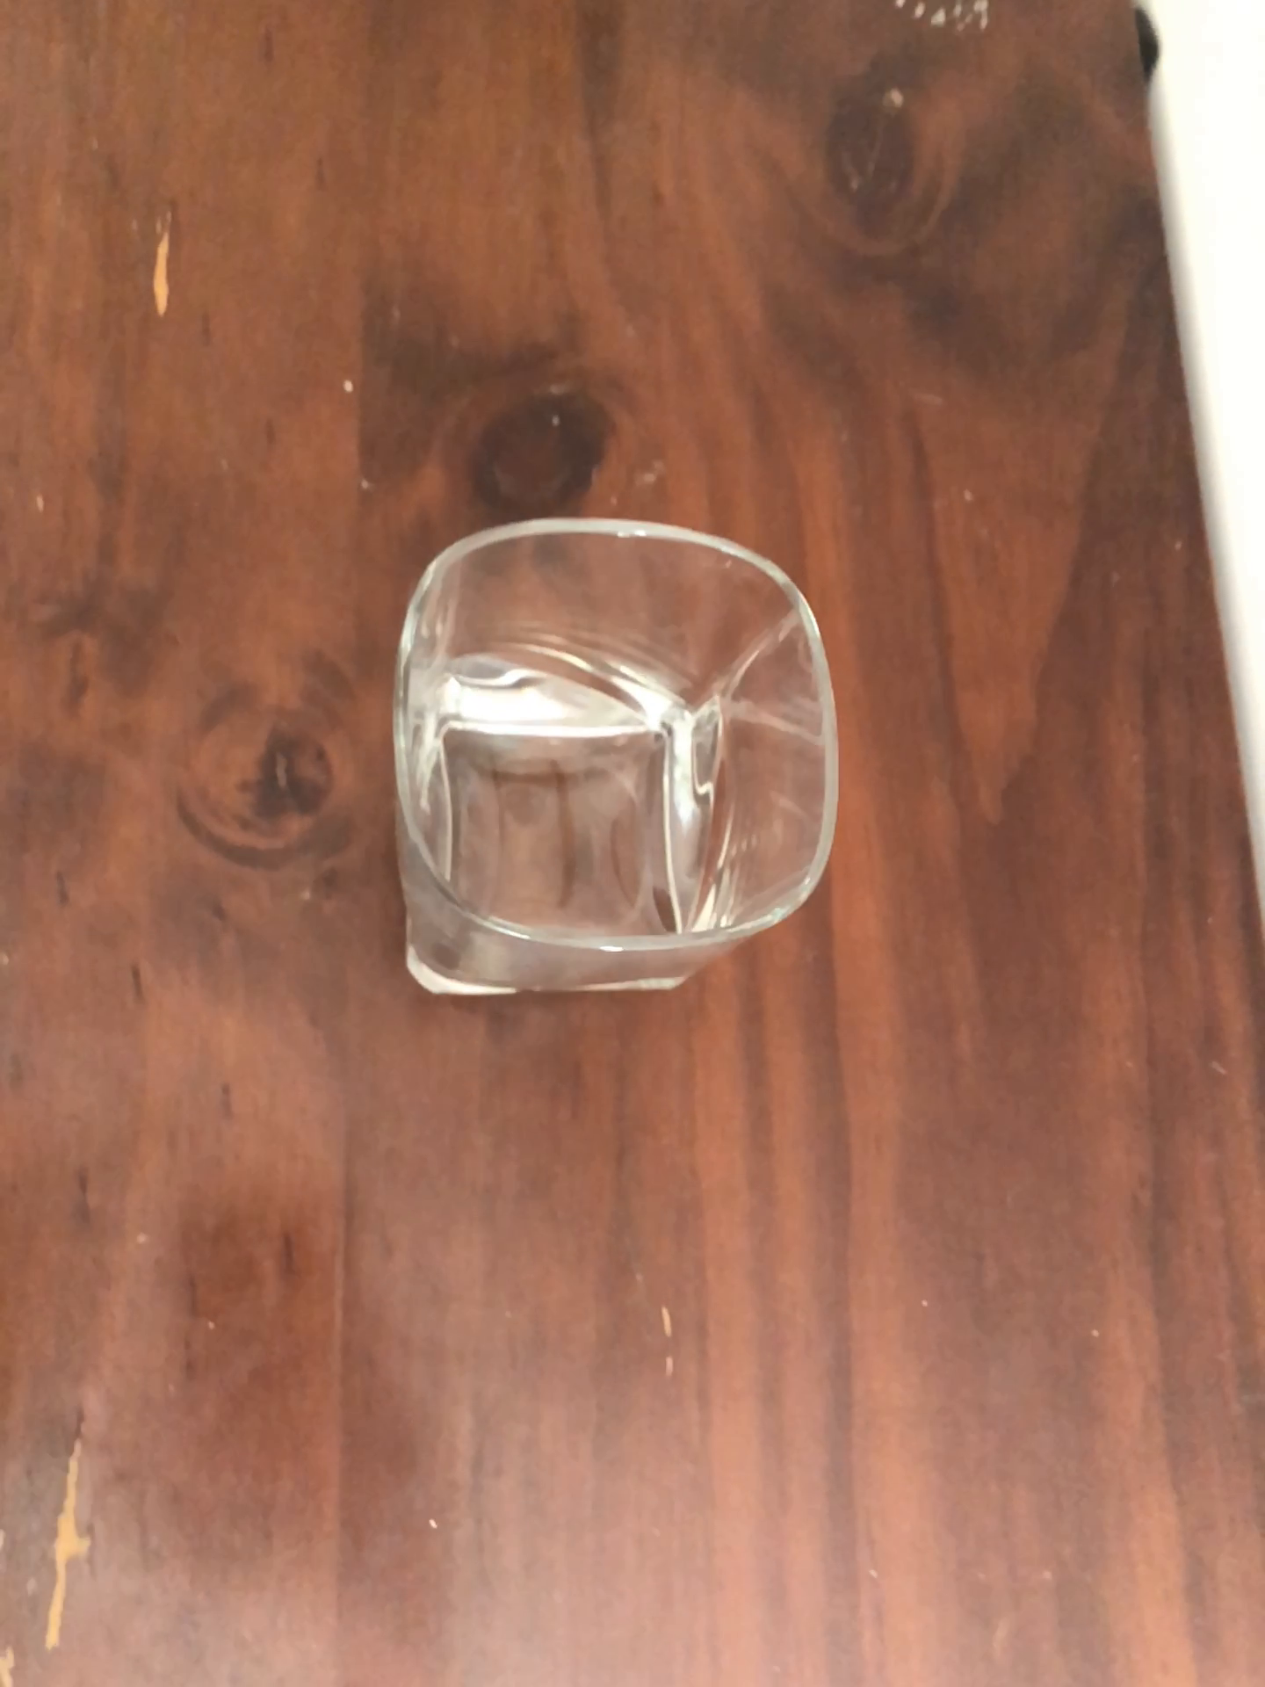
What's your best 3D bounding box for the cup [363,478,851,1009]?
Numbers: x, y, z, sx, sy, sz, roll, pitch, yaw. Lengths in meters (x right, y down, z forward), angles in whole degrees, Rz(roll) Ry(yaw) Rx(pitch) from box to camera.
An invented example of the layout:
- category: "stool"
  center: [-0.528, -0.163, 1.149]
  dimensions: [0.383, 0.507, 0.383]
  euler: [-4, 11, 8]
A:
- category: "cup"
  center: [-0.012, -0.012, 0.274]
  dimensions: [0.076, 0.087, 0.077]
  euler: [3, 76, -13]
